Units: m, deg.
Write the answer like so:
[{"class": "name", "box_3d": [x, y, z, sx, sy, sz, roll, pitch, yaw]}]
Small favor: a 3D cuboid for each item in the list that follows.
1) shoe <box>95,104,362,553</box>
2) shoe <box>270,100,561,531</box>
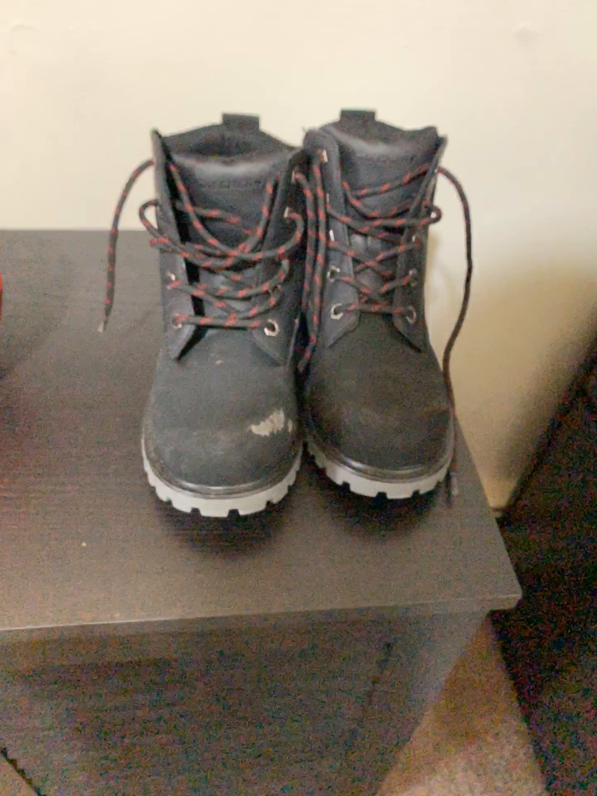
[{"class": "shoe", "box_3d": [-0.042, -0.051, 0.369, 0.100, 0.159, 0.222, -1, 43, -7]}, {"class": "shoe", "box_3d": [0.043, -0.063, 0.391, 0.100, 0.159, 0.232, -1, 43, -7]}]
